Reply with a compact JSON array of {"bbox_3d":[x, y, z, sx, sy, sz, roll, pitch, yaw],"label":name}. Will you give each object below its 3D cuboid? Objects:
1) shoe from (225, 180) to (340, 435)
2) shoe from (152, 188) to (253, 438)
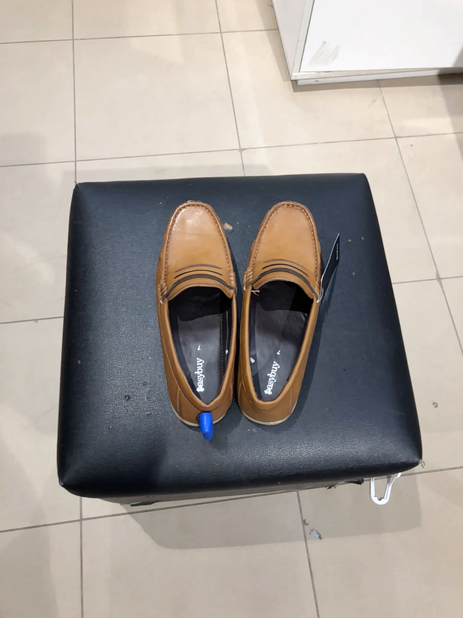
[{"bbox_3d":[0.061,-0.005,0.594,0.098,0.088,0.274,8,67,0],"label":"shoe"},{"bbox_3d":[-0.037,0.001,0.590,0.098,0.088,0.274,-2,68,-4],"label":"shoe"}]
